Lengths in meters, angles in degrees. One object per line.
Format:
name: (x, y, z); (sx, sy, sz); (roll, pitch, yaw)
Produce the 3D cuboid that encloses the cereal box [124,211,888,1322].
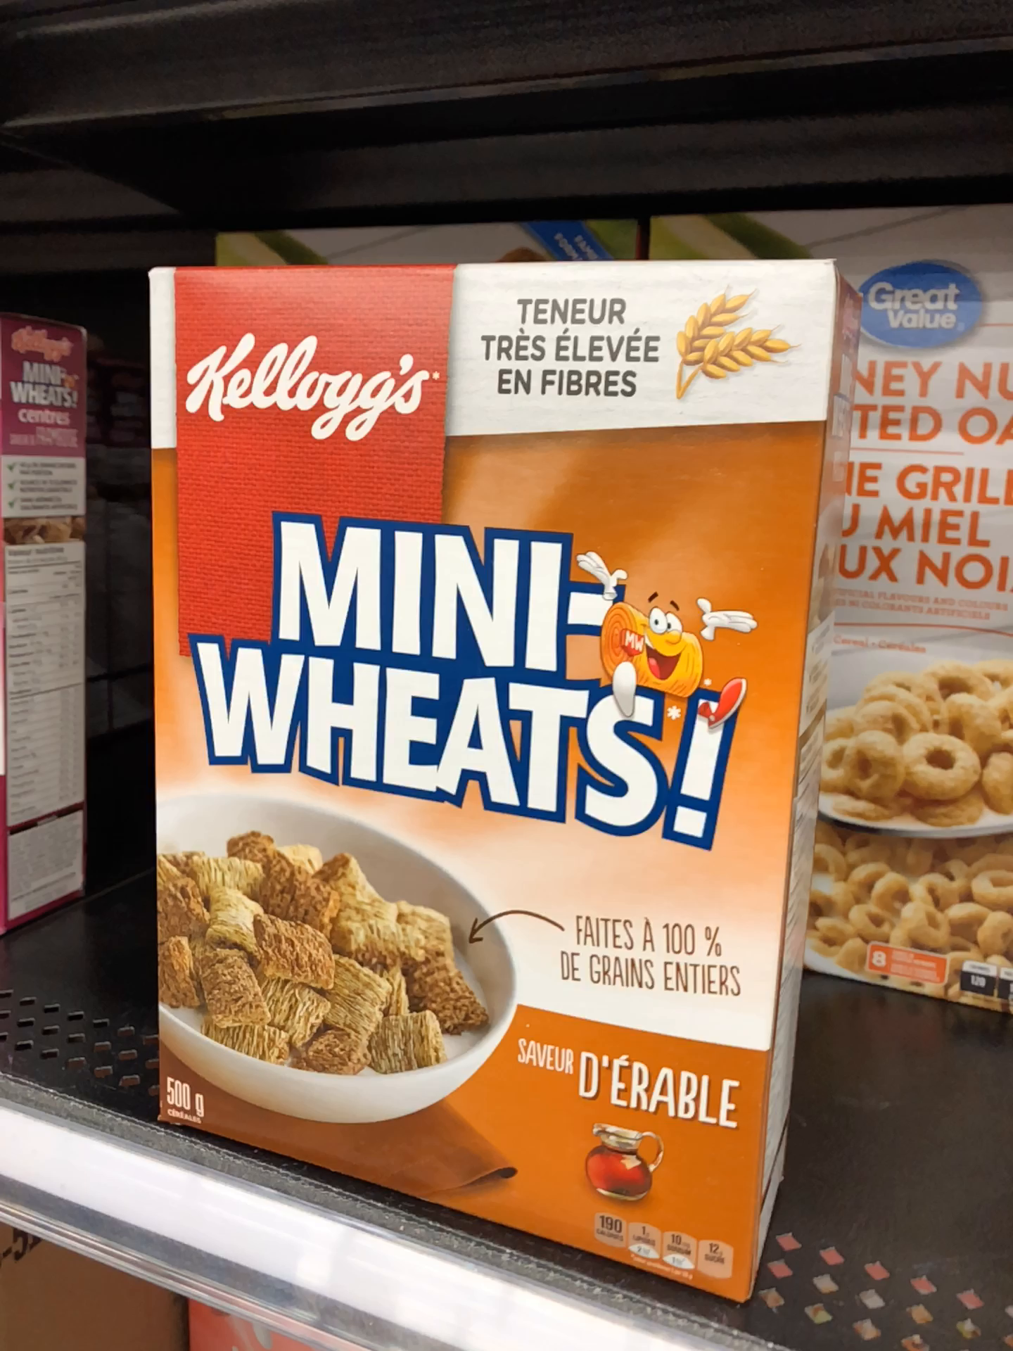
cereal box: (-0.009, 0.017, 0.329); (0.200, 0.269, 0.060); (7, 12, 23)
